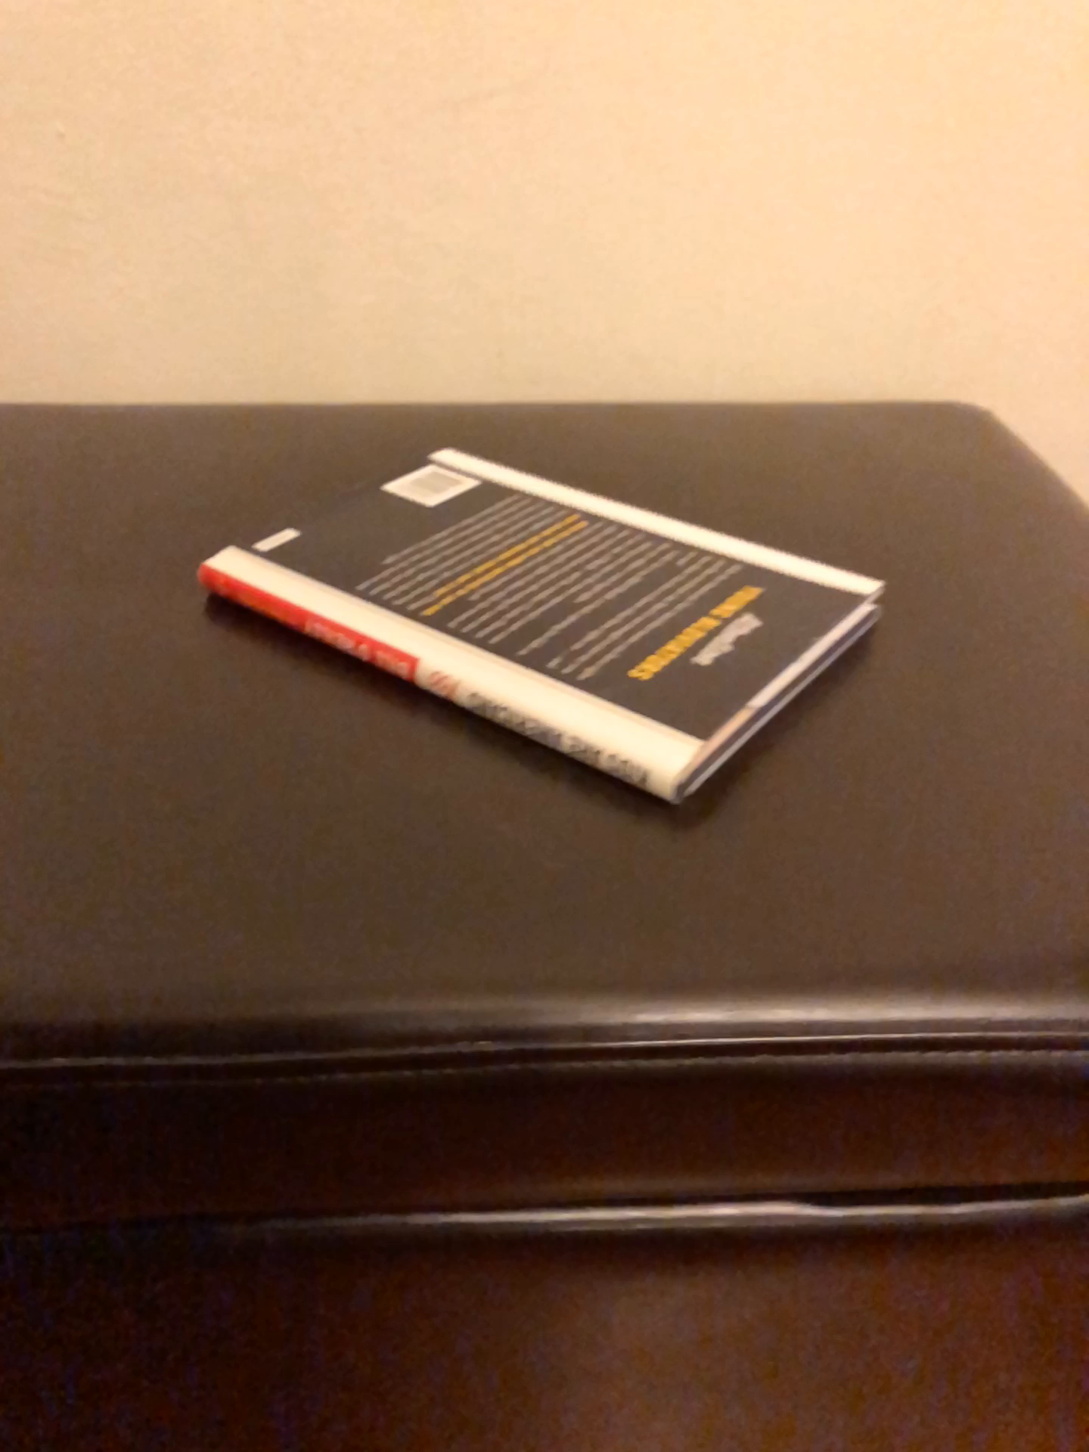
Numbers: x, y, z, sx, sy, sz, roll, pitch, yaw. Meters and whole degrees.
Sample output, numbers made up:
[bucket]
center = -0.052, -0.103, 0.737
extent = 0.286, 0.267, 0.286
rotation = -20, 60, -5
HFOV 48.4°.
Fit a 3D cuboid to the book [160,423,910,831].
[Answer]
[book]
center = -0.004, -0.055, 0.458
extent = 0.230, 0.020, 0.161
rotation = 24, 41, 28
